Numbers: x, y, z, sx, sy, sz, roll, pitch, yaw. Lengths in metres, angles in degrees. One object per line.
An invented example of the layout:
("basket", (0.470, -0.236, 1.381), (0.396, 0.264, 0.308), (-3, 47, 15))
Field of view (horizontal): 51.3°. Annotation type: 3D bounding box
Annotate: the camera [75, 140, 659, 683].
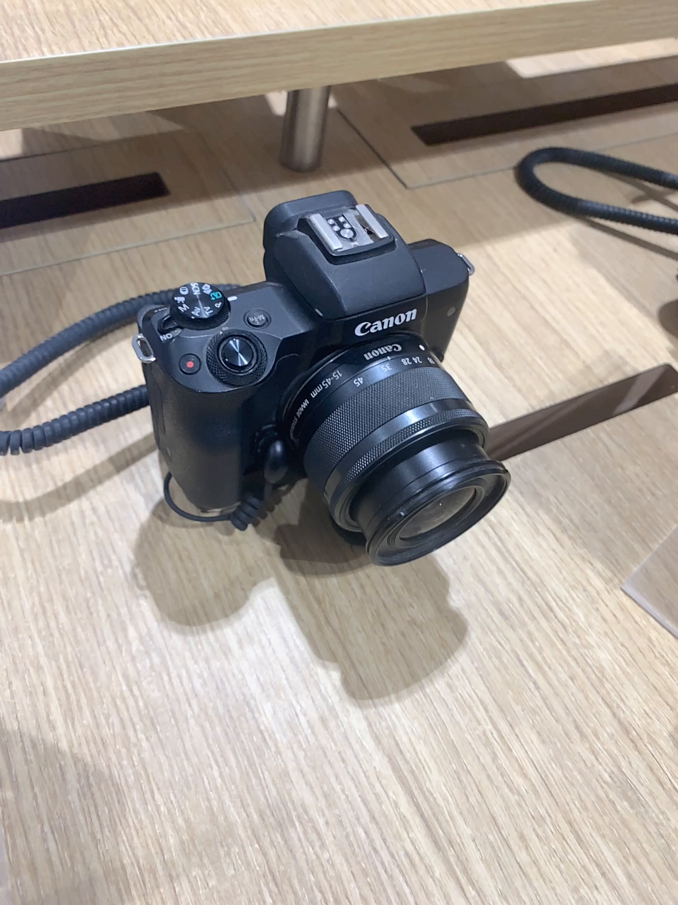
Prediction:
("camera", (0.001, -0.015, 0.225), (0.120, 0.100, 0.100), (-22, 61, -22))
